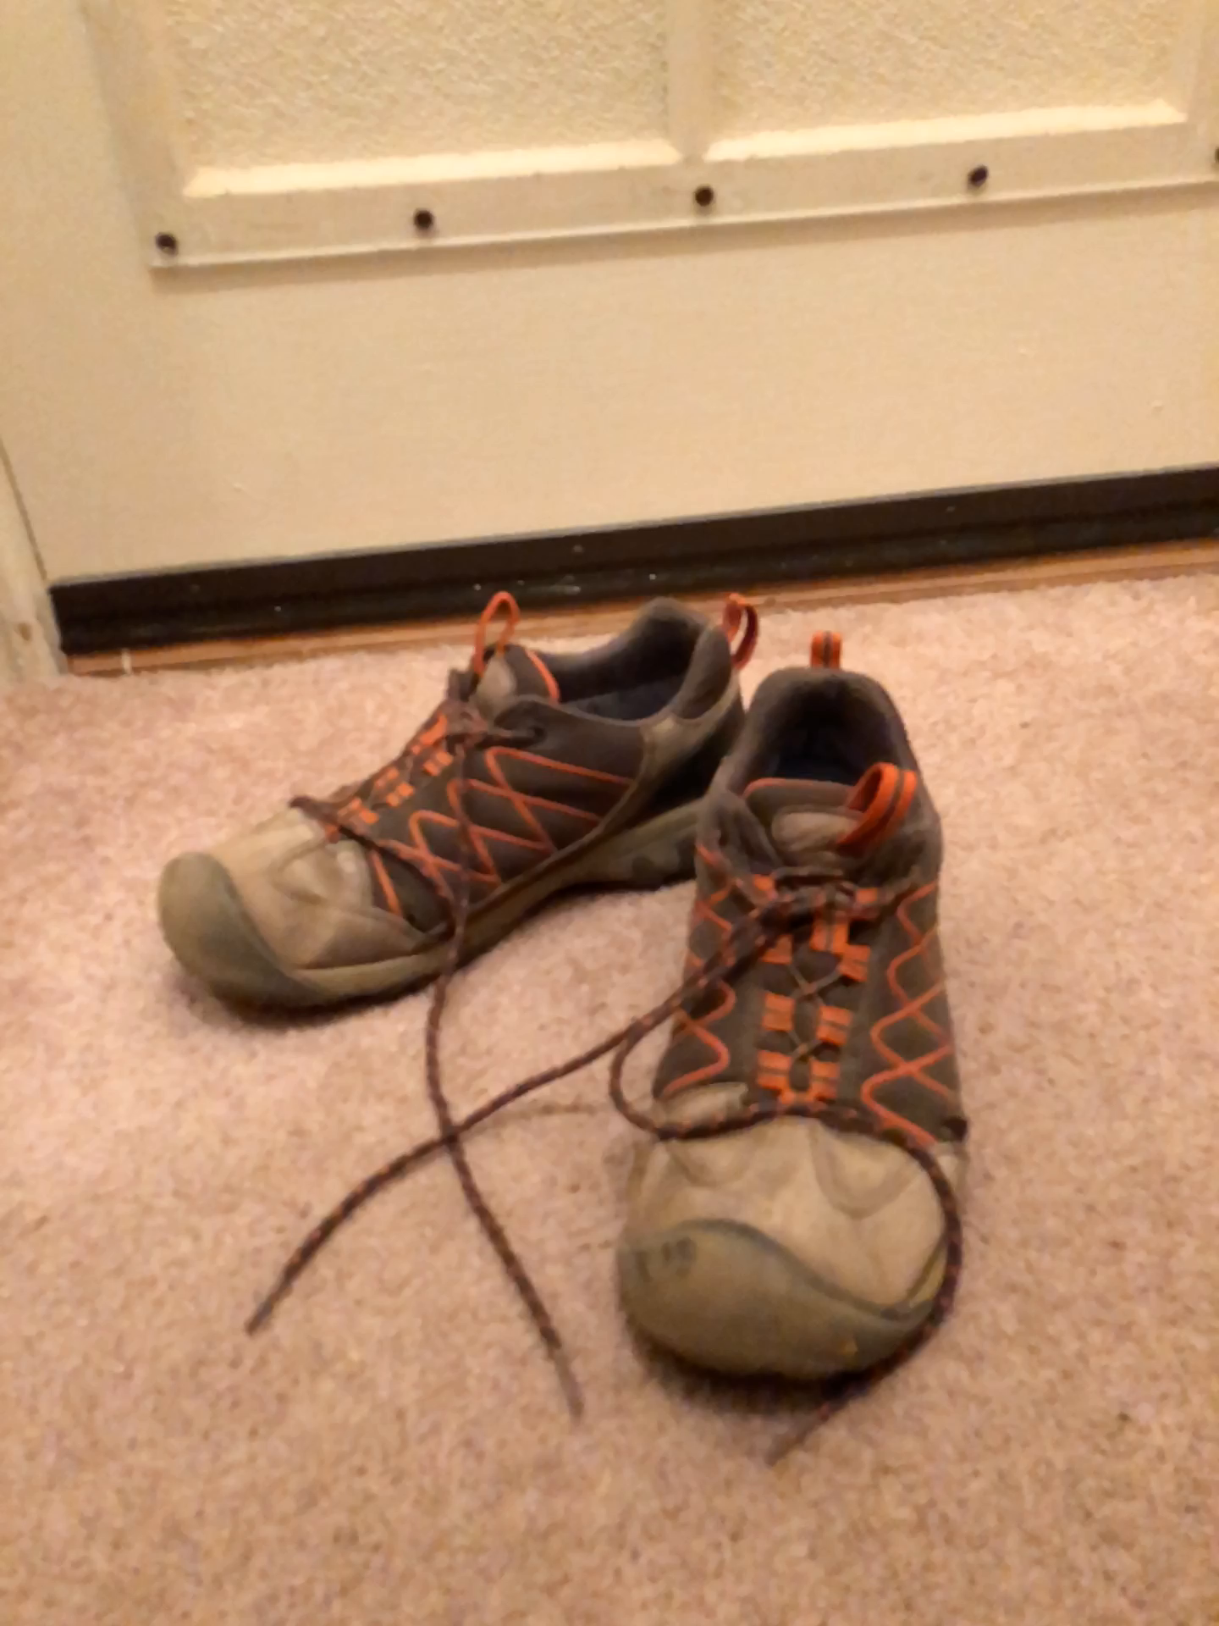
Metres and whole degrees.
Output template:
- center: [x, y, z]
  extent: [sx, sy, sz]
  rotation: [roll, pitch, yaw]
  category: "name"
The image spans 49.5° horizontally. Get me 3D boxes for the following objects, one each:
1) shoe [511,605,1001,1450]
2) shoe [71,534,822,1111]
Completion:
- center: [0.067, 0.049, 0.467]
  extent: [0.120, 0.129, 0.272]
  rotation: [5, 36, 12]
  category: "shoe"
- center: [-0.062, -0.010, 0.605]
  extent: [0.301, 0.129, 0.120]
  rotation: [-21, 39, -24]
  category: "shoe"
